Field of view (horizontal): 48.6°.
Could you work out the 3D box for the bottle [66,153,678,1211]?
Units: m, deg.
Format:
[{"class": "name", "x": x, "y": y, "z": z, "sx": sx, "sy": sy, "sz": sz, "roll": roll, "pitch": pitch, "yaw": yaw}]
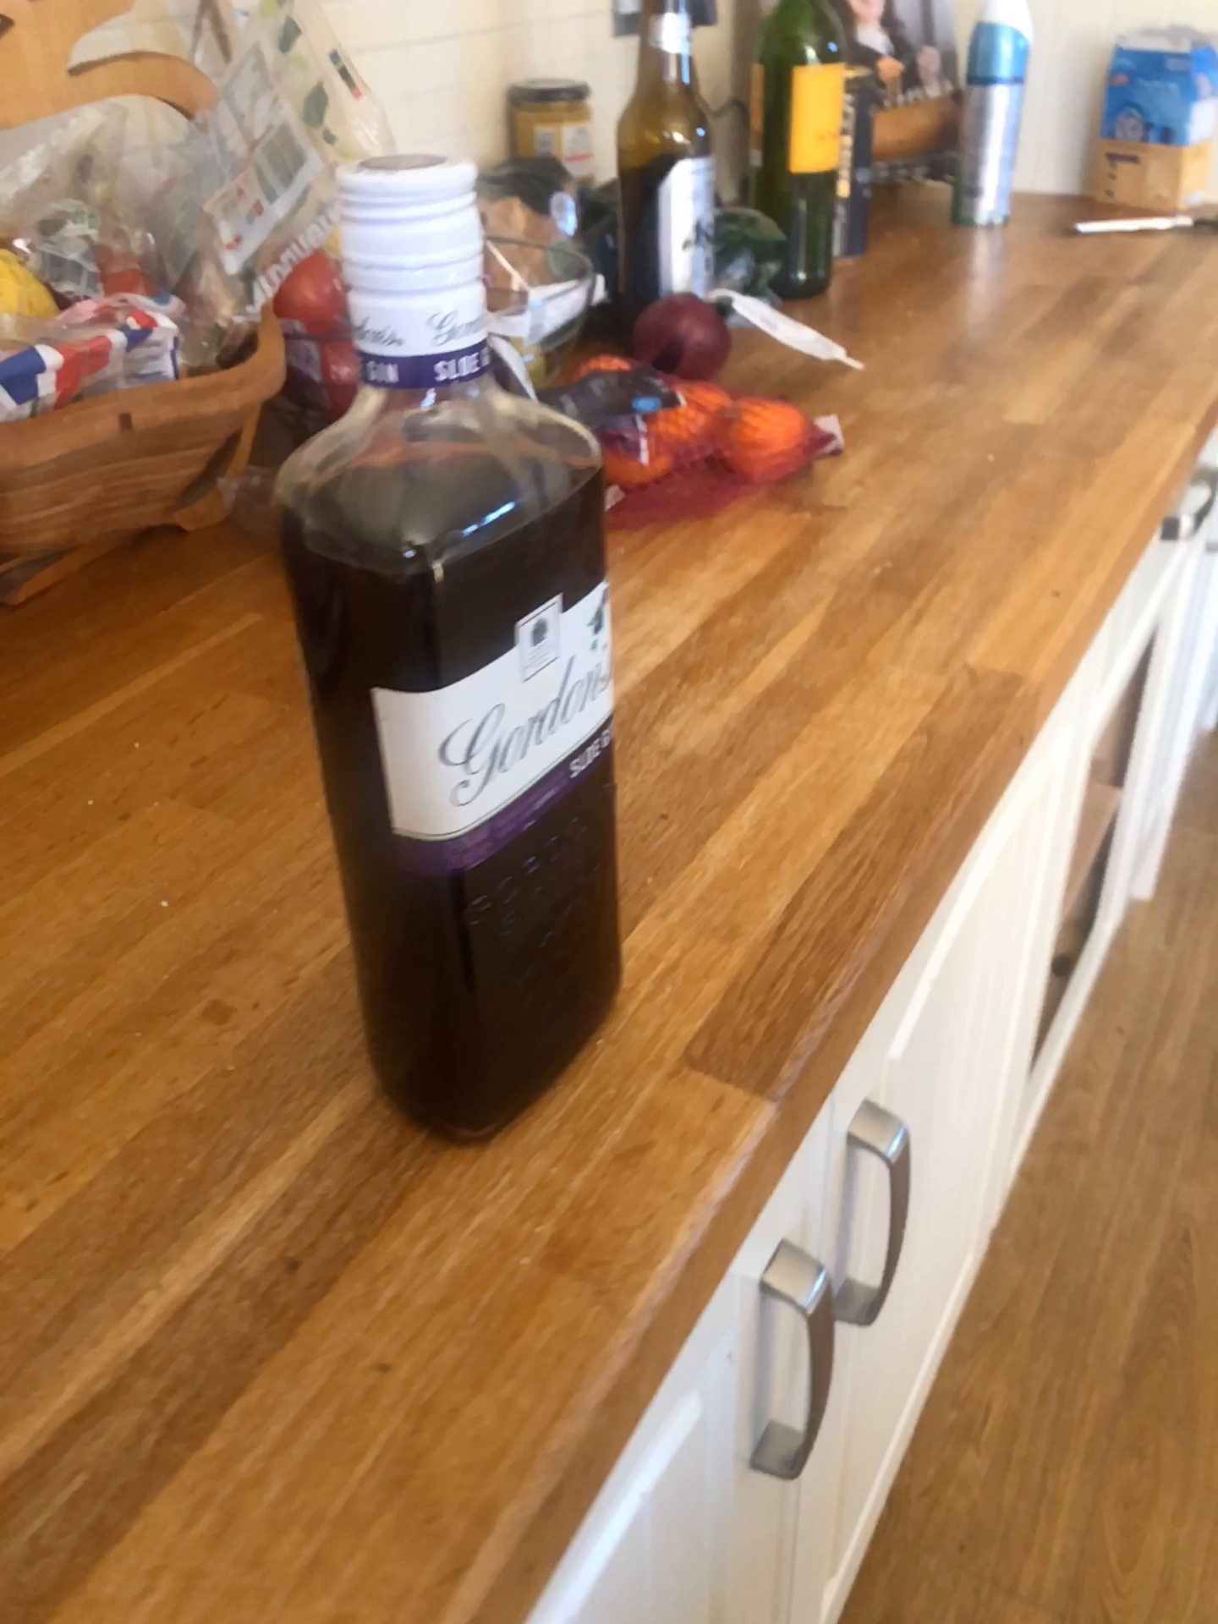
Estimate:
[{"class": "bottle", "x": -0.043, "y": -0.029, "z": 0.347, "sx": 0.080, "sy": 0.238, "sz": 0.101, "roll": 19, "pitch": 39, "yaw": 29}]
